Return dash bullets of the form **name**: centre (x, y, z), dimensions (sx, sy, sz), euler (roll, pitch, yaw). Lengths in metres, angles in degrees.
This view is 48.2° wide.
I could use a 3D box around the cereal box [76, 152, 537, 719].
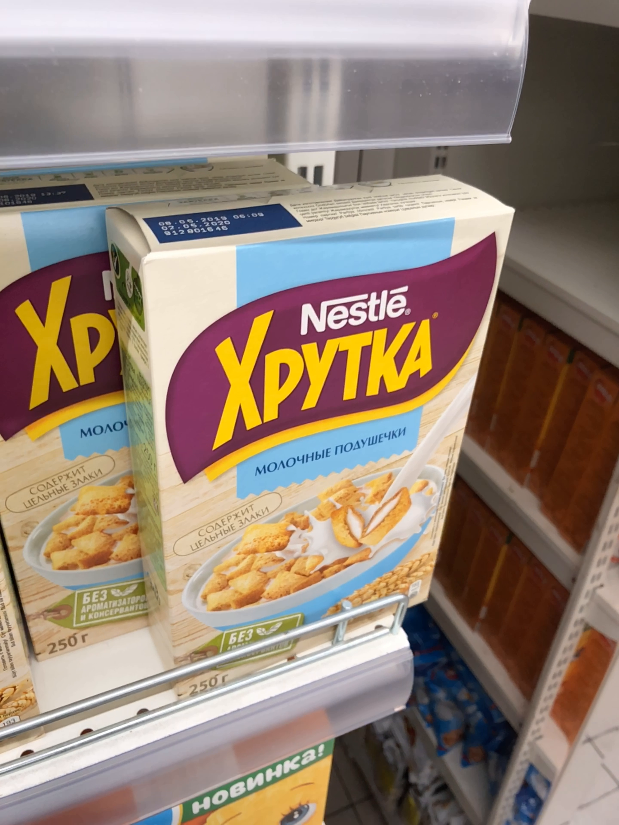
- **cereal box**: centre (-0.002, 0.014, 0.294), dimensions (0.150, 0.219, 0.050), euler (-15, 38, -25)
